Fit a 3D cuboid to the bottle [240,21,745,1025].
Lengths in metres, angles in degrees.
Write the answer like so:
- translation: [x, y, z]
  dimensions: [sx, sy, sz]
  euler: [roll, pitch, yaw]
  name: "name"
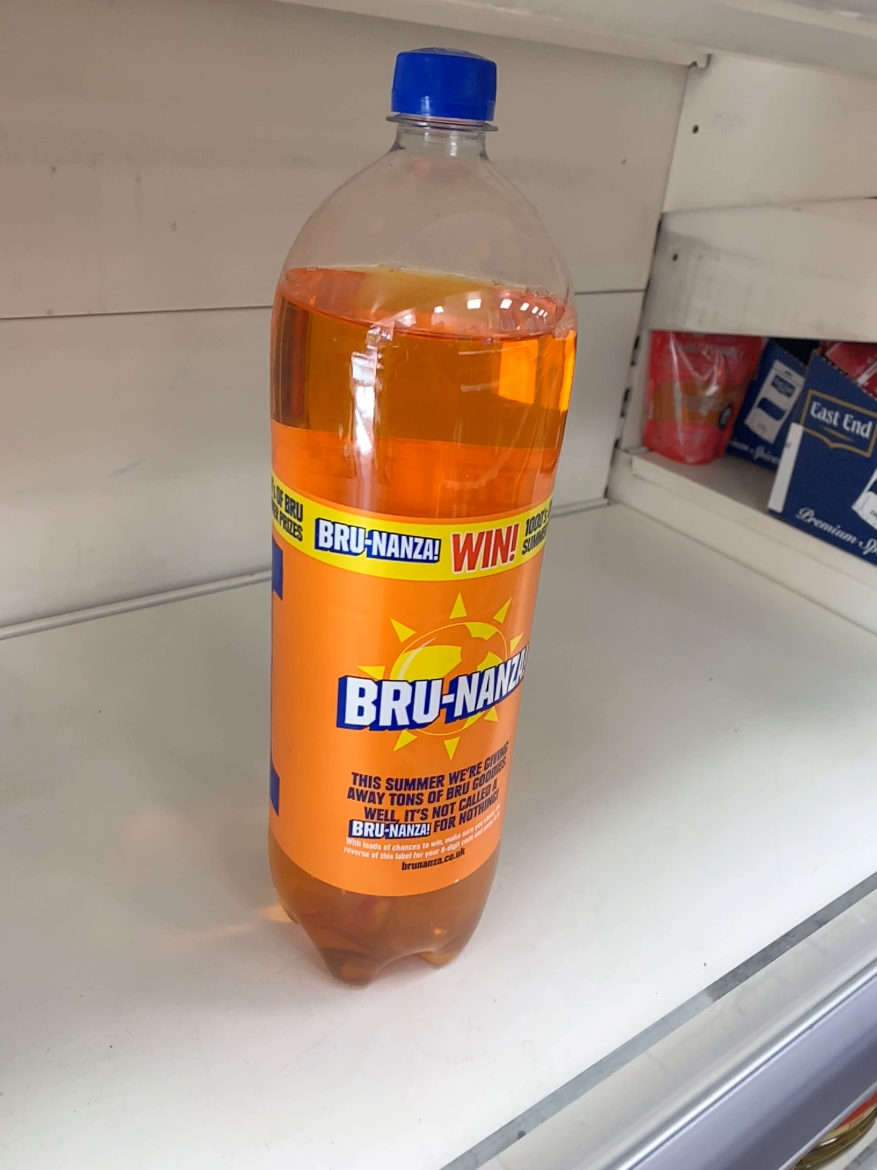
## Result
- translation: [-0.008, -0.007, 0.332]
  dimensions: [0.110, 0.327, 0.111]
  euler: [5, 28, -3]
  name: "bottle"
